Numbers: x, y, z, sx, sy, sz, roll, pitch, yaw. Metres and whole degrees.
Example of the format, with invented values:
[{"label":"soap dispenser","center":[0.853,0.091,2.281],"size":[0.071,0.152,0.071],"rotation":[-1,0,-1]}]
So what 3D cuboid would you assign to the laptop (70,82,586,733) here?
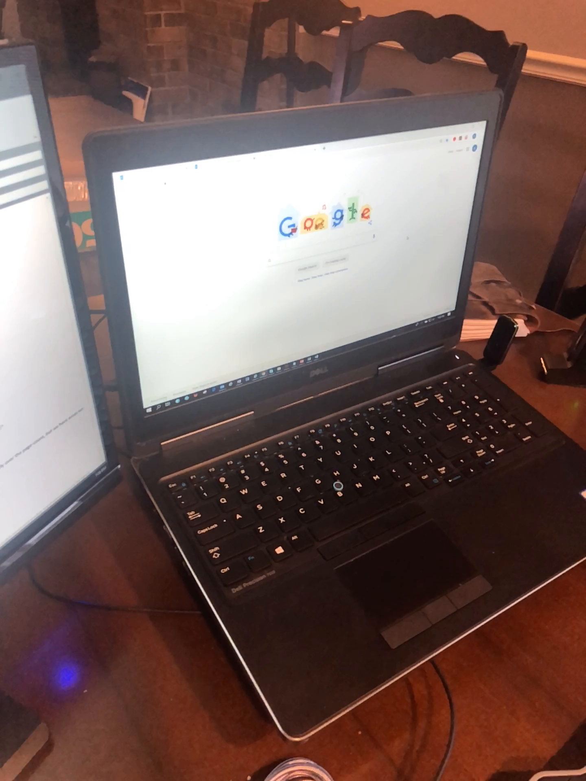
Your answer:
[{"label":"laptop","center":[0.084,-0.038,0.485],"size":[0.368,0.258,0.287],"rotation":[-18,43,-28]}]
